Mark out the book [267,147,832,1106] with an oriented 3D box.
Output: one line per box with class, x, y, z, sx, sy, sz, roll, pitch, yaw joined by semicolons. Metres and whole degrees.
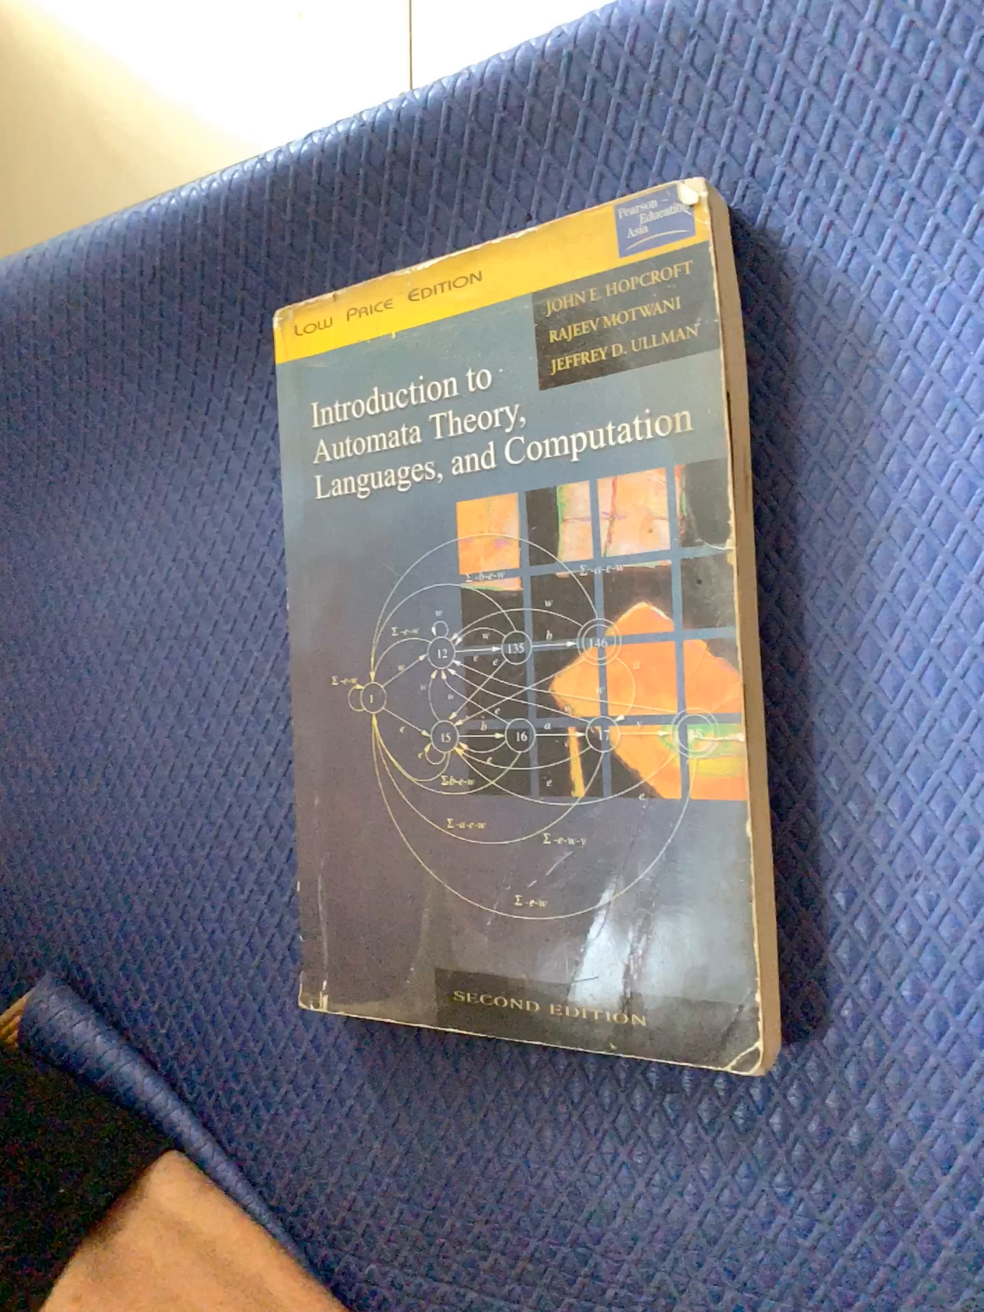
book;0.010;-0.004;0.303;0.151;0.050;0.230;-5;85;32
